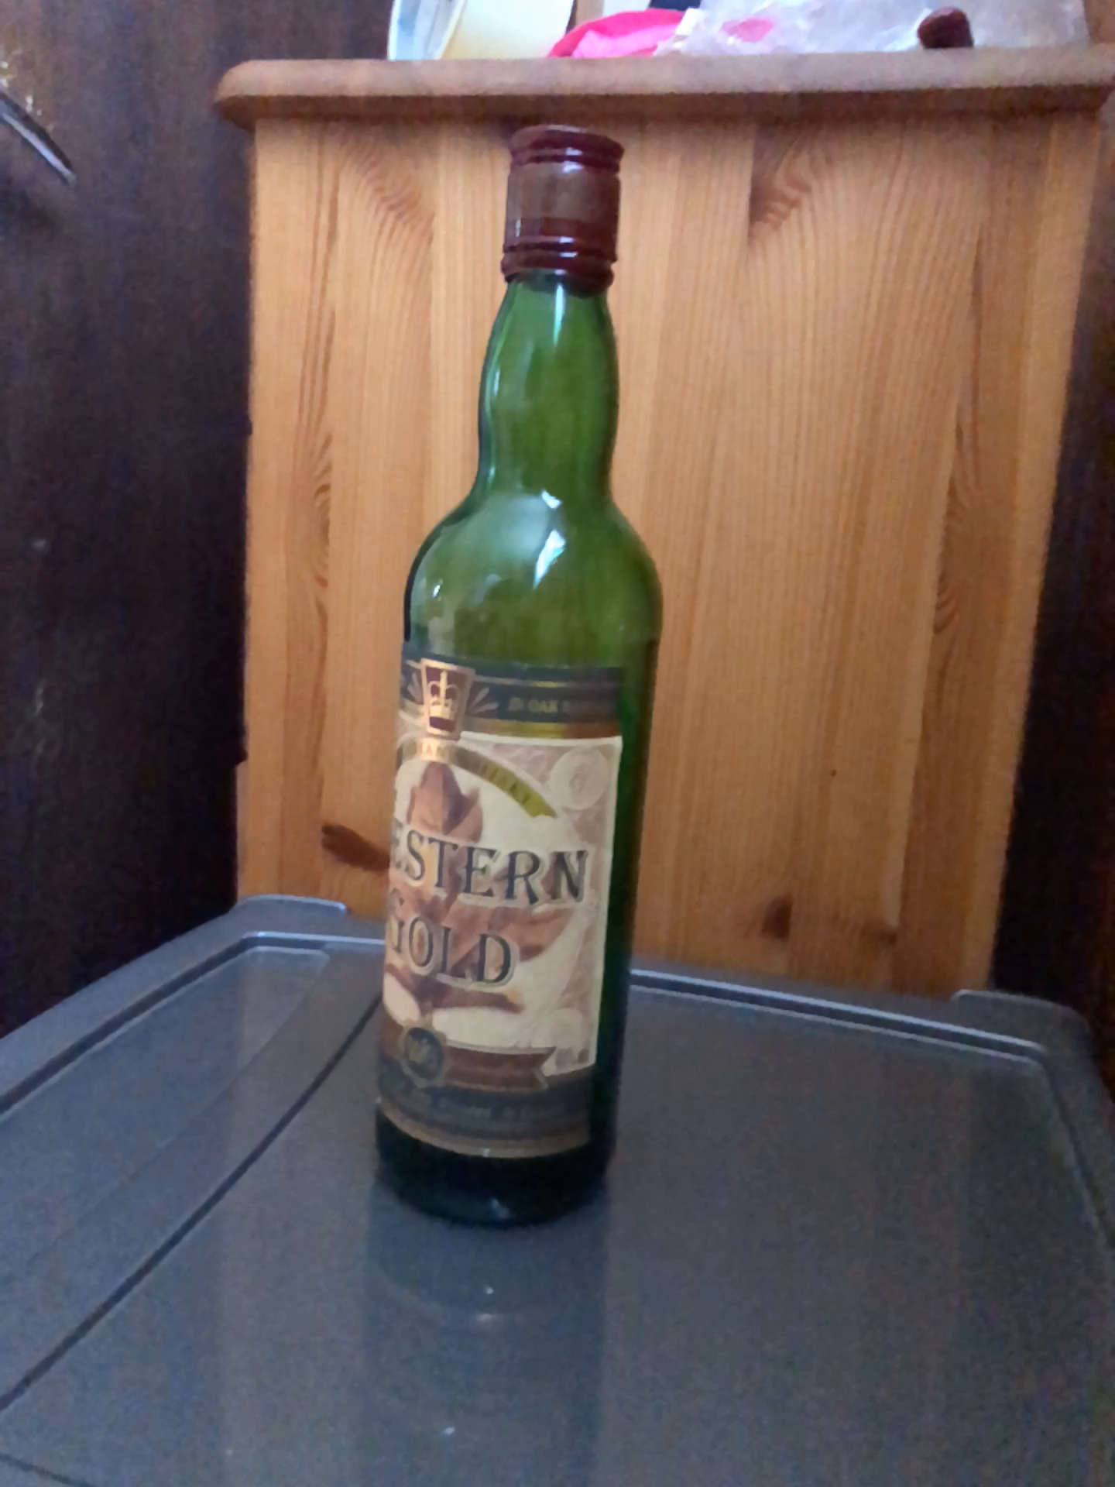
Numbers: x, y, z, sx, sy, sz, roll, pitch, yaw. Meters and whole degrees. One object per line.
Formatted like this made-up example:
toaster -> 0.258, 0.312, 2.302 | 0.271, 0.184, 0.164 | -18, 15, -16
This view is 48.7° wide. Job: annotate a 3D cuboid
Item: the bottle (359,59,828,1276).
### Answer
bottle -> 0.005, -0.016, 0.355 | 0.080, 0.299, 0.080 | 4, 11, -1
